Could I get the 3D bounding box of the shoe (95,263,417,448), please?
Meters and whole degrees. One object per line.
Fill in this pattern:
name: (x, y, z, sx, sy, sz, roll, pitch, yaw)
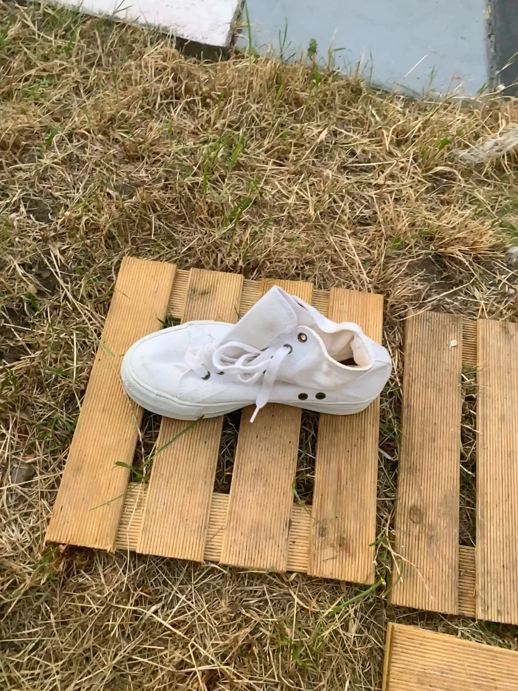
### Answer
shoe: (-0.002, 0.017, 0.490, 0.260, 0.109, 0.100, 9, 66, -6)
